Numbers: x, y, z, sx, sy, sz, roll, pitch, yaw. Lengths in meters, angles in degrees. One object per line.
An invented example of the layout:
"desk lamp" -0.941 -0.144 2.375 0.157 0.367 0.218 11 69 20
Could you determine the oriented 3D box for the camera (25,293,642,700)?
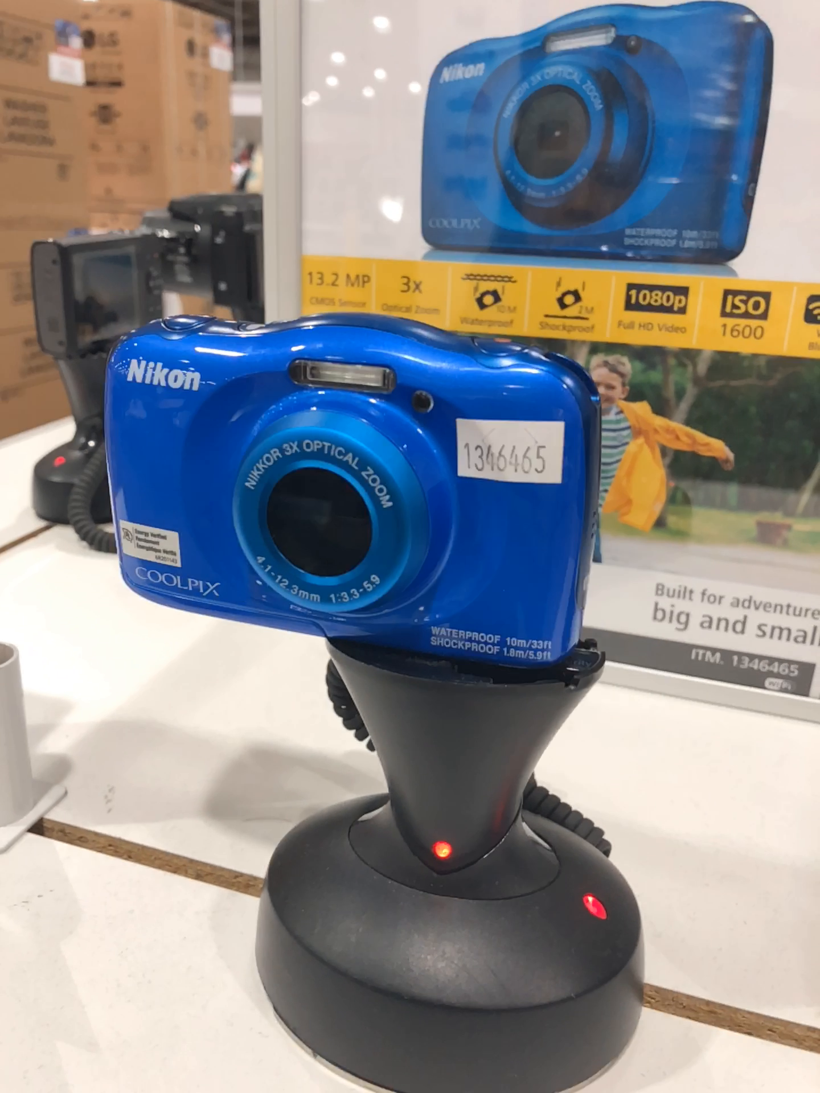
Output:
"camera" -0.014 -0.015 0.186 0.110 0.060 0.040 8 22 14
